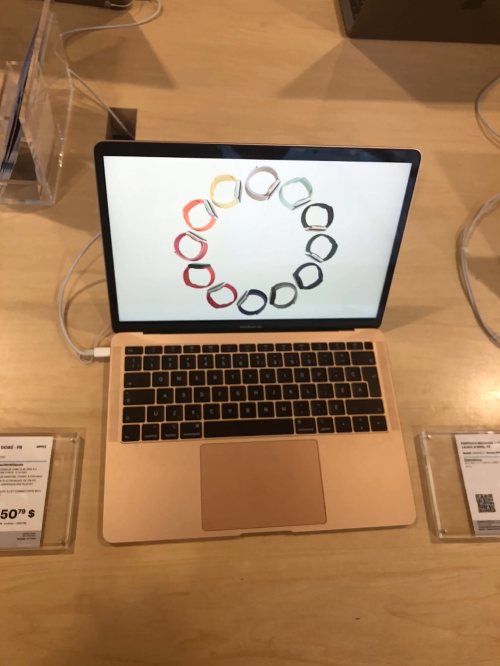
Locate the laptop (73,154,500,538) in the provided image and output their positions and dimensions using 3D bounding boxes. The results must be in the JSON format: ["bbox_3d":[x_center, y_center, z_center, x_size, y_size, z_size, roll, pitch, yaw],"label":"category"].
[{"bbox_3d":[0.013,0.015,0.507,0.289,0.168,0.298,0,64,-8],"label":"laptop"}]
